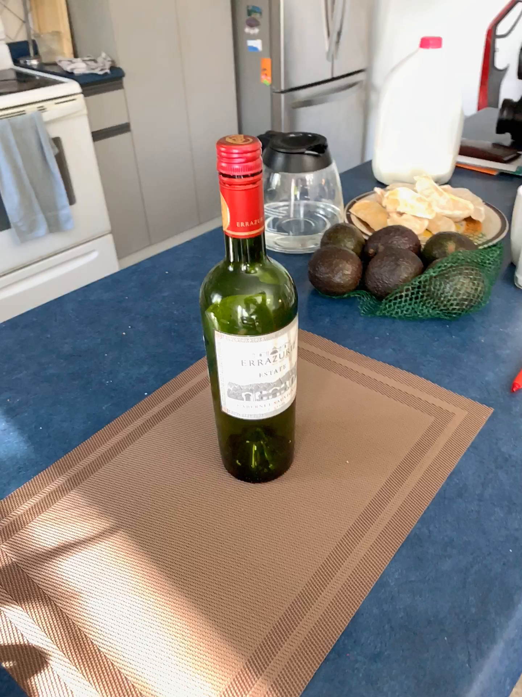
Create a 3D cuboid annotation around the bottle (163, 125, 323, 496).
[{"bbox_3d":[-0.009,-0.016,0.424,0.080,0.277,0.081,-2,36,1],"label":"bottle"}]
